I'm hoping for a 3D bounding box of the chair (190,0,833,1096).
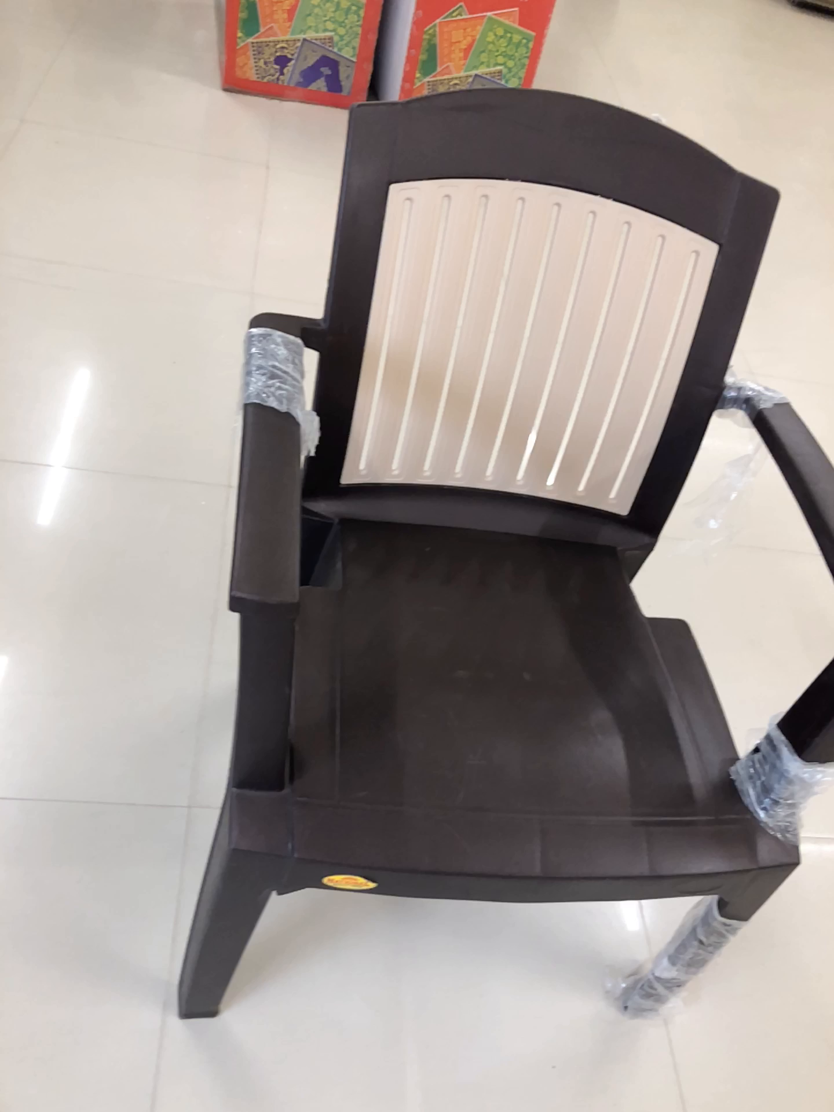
[{"bbox_3d":[0.134,-0.009,0.786,0.601,0.556,0.653,3,47,-14],"label":"chair"}]
